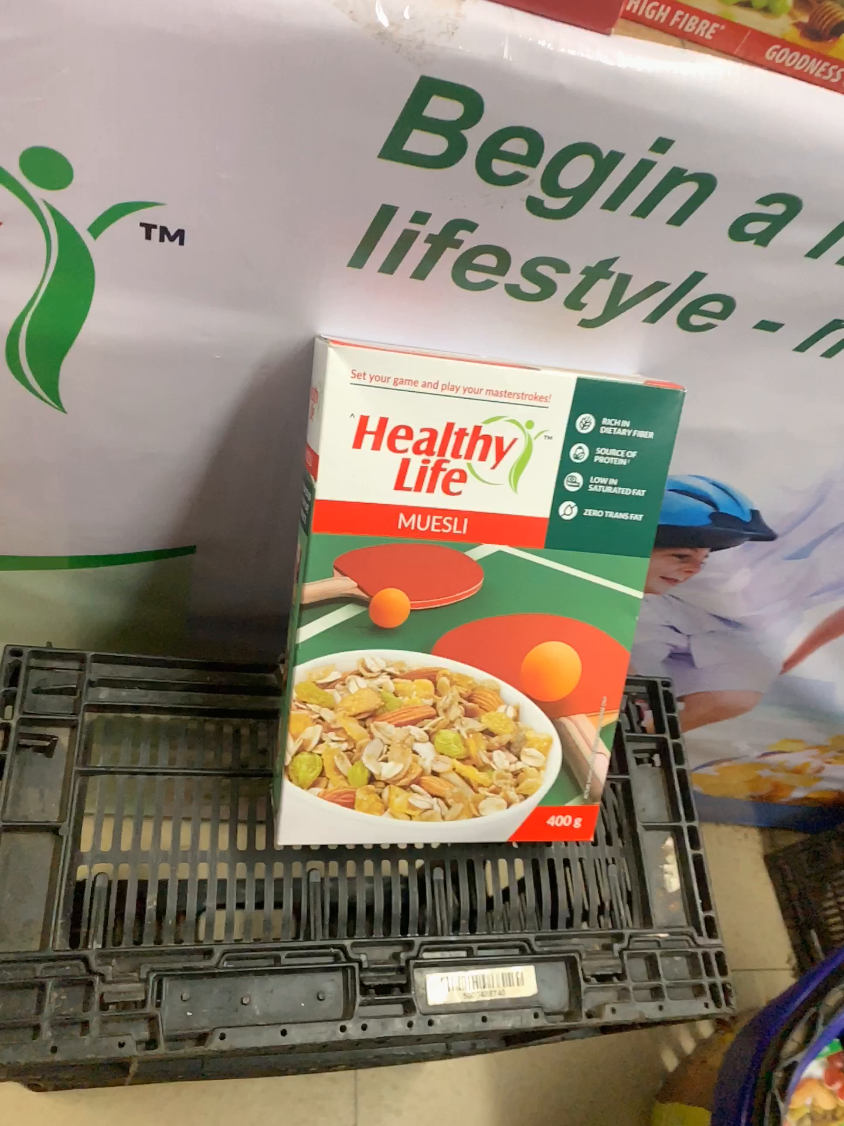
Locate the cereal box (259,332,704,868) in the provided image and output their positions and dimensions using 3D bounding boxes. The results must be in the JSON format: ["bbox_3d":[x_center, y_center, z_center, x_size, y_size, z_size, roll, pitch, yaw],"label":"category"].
[{"bbox_3d":[0.017,0.018,0.415,0.170,0.230,0.080,3,13,-14],"label":"cereal box"}]
